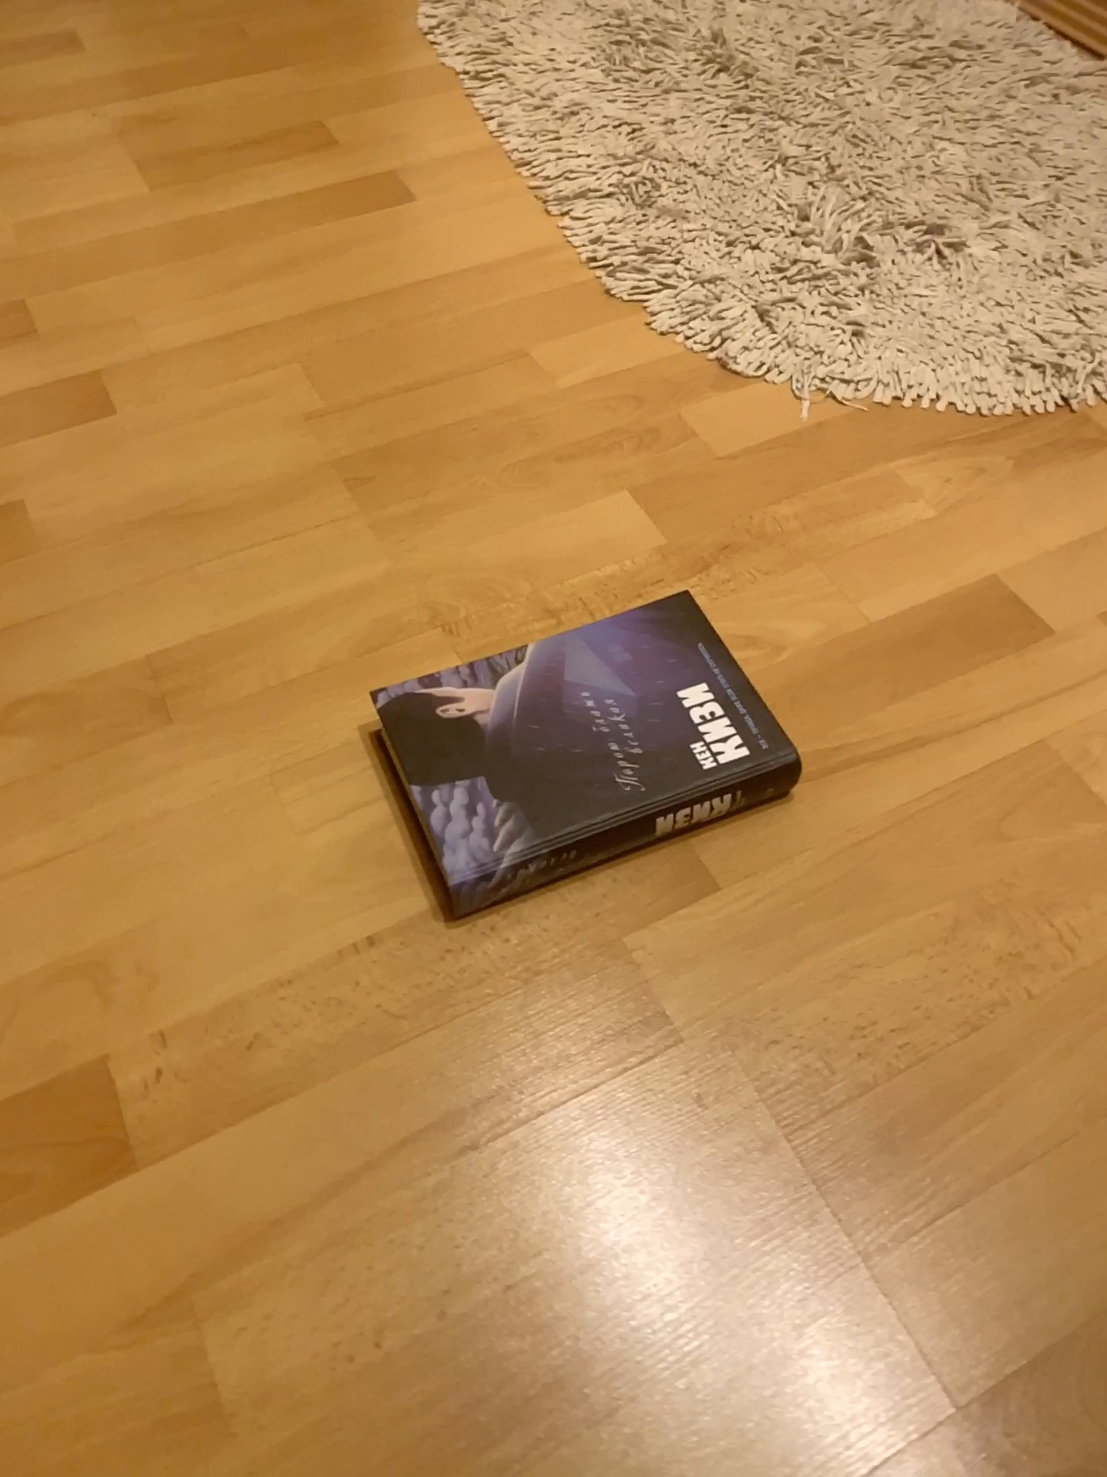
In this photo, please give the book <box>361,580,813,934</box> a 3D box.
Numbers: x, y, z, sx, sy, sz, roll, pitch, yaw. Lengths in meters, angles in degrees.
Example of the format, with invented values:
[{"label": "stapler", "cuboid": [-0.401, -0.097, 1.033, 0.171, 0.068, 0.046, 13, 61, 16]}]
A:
[{"label": "book", "cuboid": [0.016, 0.004, 0.680, 0.224, 0.050, 0.151, -19, 57, -14]}]
